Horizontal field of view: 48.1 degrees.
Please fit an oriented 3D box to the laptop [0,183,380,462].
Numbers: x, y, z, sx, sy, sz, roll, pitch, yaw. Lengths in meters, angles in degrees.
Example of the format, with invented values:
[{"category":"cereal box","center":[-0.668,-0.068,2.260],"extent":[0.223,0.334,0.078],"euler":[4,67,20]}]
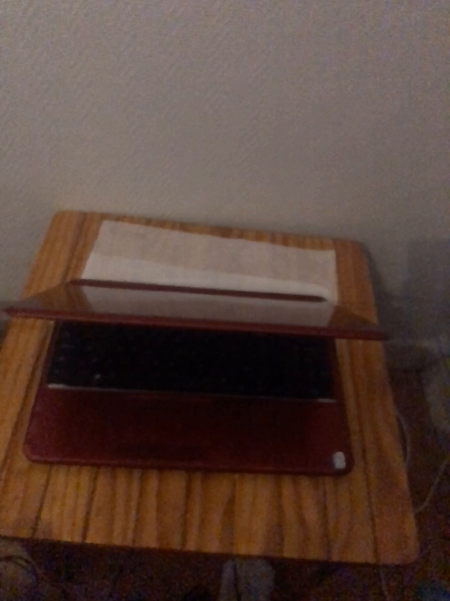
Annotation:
[{"category":"laptop","center":[-0.046,0.029,0.592],"extent":[0.372,0.168,0.254],"euler":[4,50,-8]}]
